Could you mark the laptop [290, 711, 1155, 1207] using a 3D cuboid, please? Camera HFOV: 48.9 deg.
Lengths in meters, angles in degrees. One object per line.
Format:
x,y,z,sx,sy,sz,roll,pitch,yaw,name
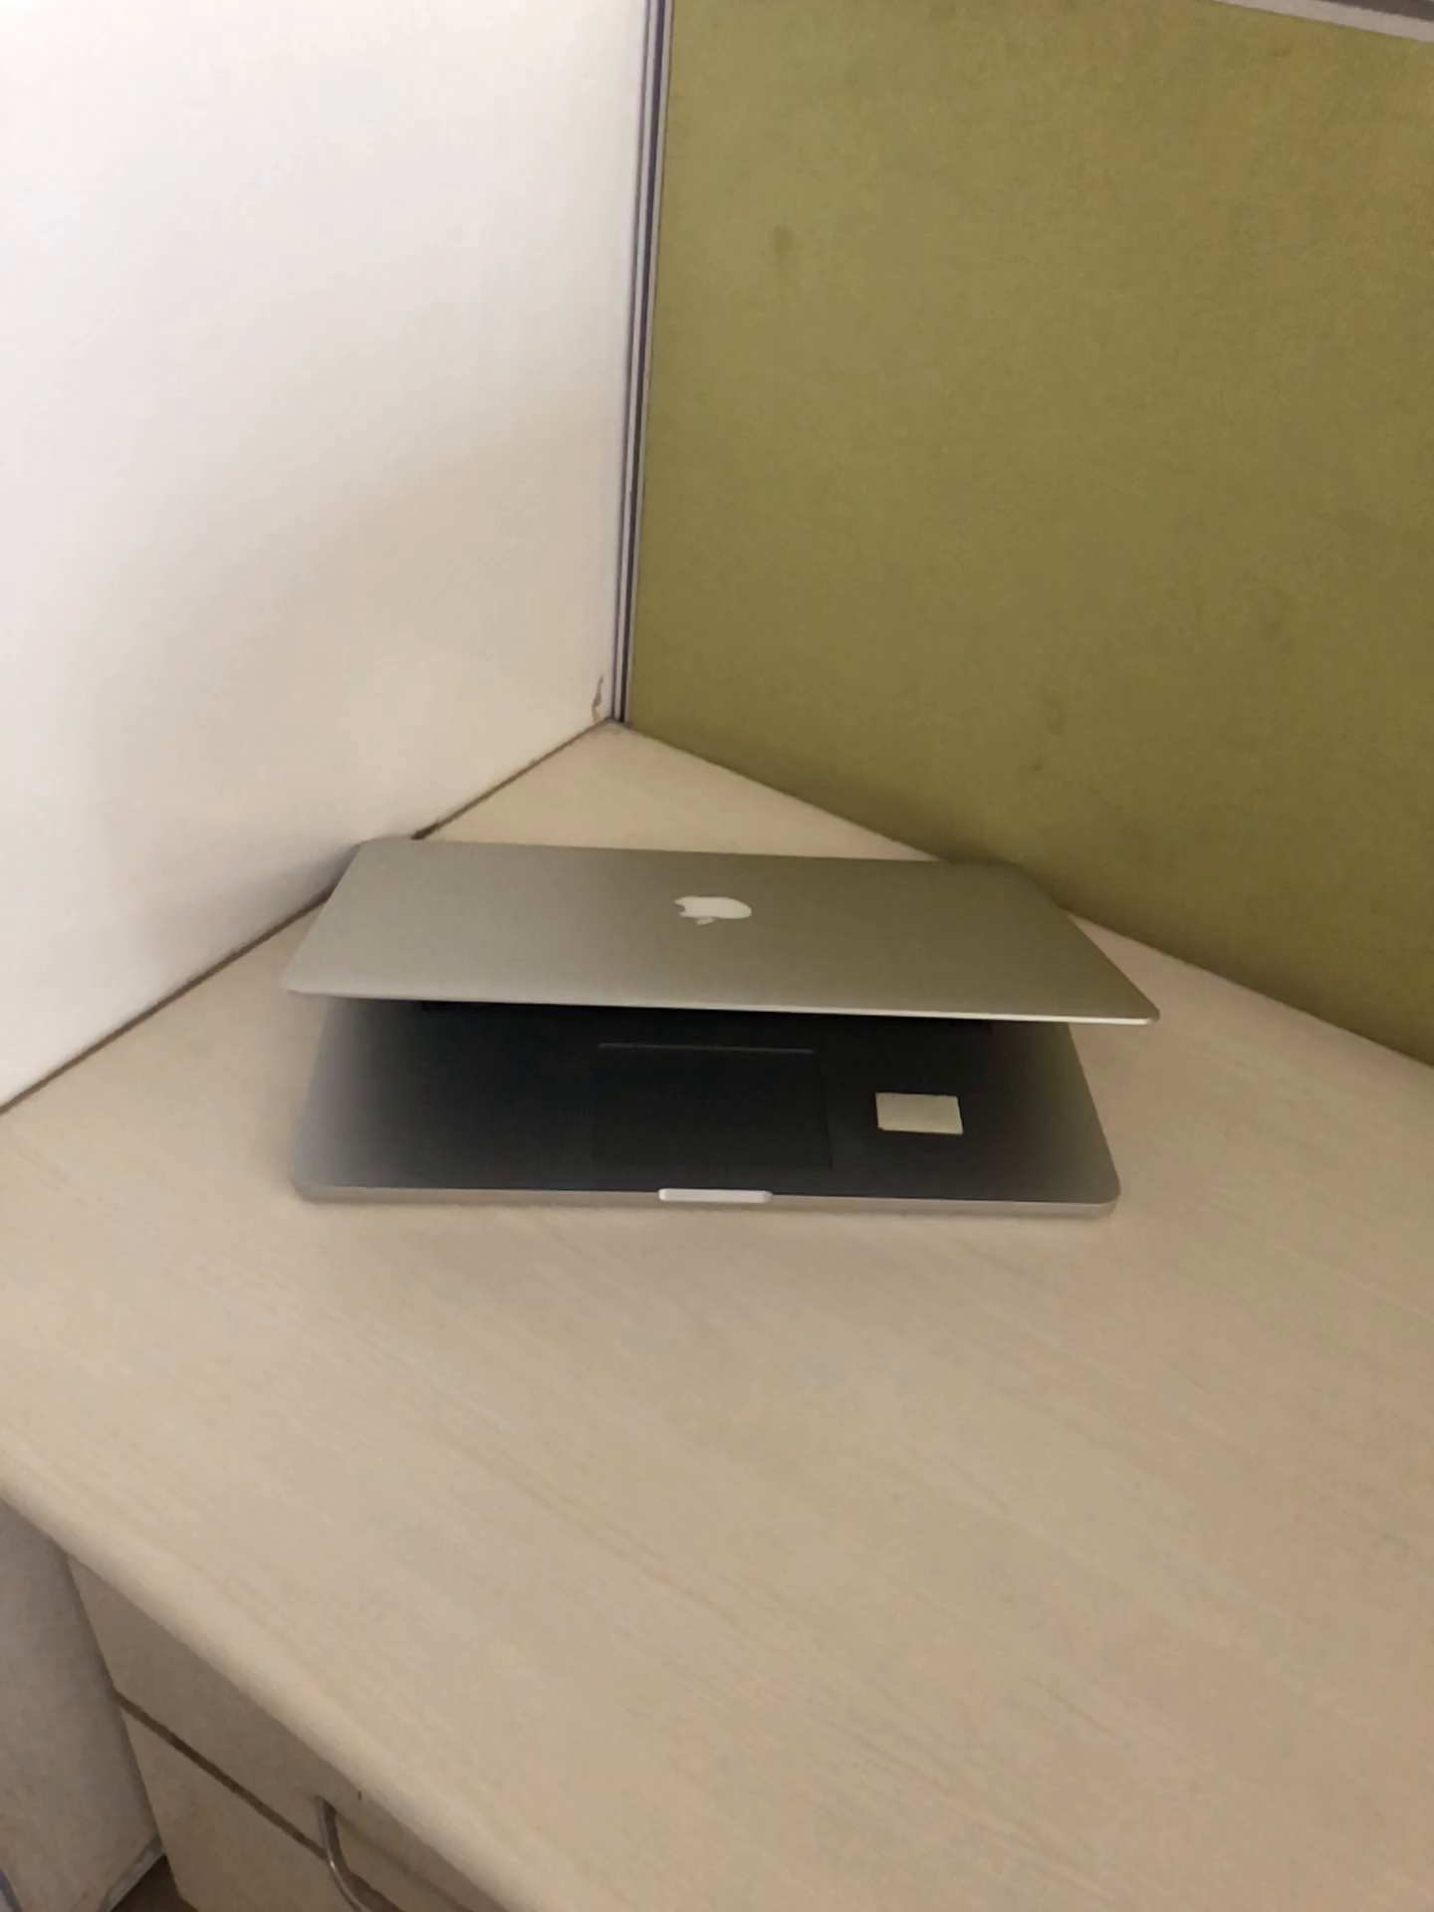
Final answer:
-0.003,-0.007,0.743,0.343,0.083,0.245,2,39,-5,laptop
